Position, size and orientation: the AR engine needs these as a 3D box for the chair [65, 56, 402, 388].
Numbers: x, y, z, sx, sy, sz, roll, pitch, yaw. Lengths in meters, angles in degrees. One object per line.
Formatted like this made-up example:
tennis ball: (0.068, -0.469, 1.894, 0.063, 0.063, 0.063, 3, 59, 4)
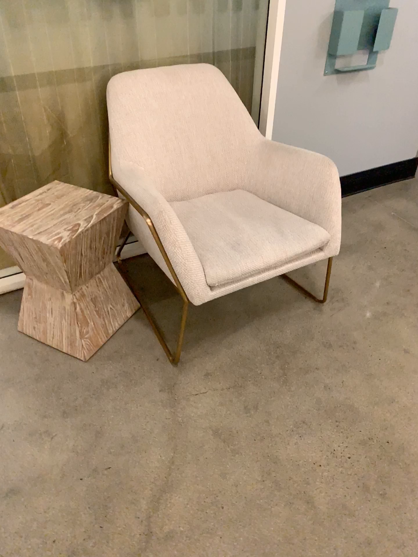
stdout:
chair: (0.015, -0.301, 1.646, 0.751, 0.815, 0.885, -19, 42, -24)
